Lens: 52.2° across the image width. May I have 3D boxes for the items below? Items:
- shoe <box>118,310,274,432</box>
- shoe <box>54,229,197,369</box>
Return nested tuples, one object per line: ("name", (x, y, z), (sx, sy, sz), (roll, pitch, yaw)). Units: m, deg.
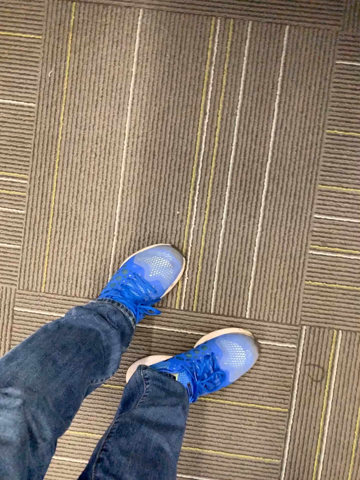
("shoe", (0.033, 0.282, 0.803), (0.299, 0.077, 0.128), (-25, 91, 3))
("shoe", (-0.114, 0.125, 0.808), (0.298, 0.077, 0.125), (-43, 90, 3))
